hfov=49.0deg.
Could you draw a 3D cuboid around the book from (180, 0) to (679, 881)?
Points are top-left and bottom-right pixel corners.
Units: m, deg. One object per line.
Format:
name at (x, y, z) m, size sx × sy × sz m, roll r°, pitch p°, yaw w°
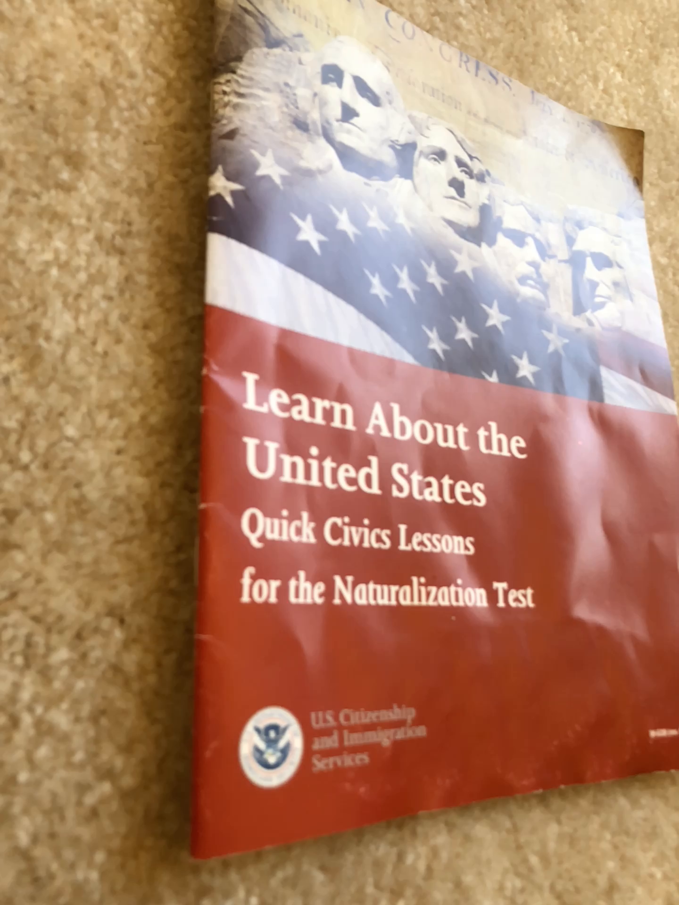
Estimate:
book at (0.052, -0.024, 0.263) m, size 0.209 × 0.028 × 0.273 m, roll 8°, pitch 73°, yaw -32°
